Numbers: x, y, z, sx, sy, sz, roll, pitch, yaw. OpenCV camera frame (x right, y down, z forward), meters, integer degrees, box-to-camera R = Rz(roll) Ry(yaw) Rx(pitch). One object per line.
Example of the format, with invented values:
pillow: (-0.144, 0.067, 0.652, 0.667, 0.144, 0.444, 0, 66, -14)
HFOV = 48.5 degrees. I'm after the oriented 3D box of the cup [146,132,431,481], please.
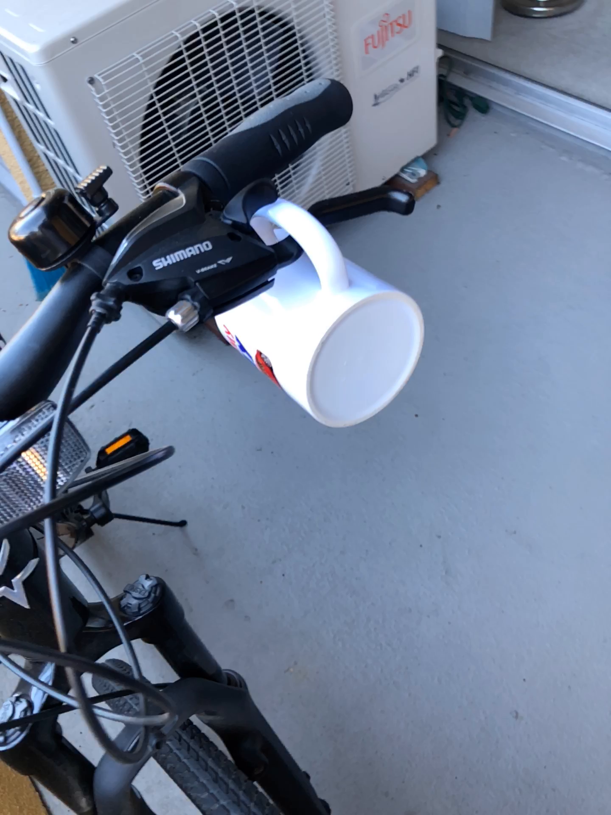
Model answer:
cup: (-0.006, -0.056, 0.370, 0.090, 0.120, 0.120, -28, 50, -16)
